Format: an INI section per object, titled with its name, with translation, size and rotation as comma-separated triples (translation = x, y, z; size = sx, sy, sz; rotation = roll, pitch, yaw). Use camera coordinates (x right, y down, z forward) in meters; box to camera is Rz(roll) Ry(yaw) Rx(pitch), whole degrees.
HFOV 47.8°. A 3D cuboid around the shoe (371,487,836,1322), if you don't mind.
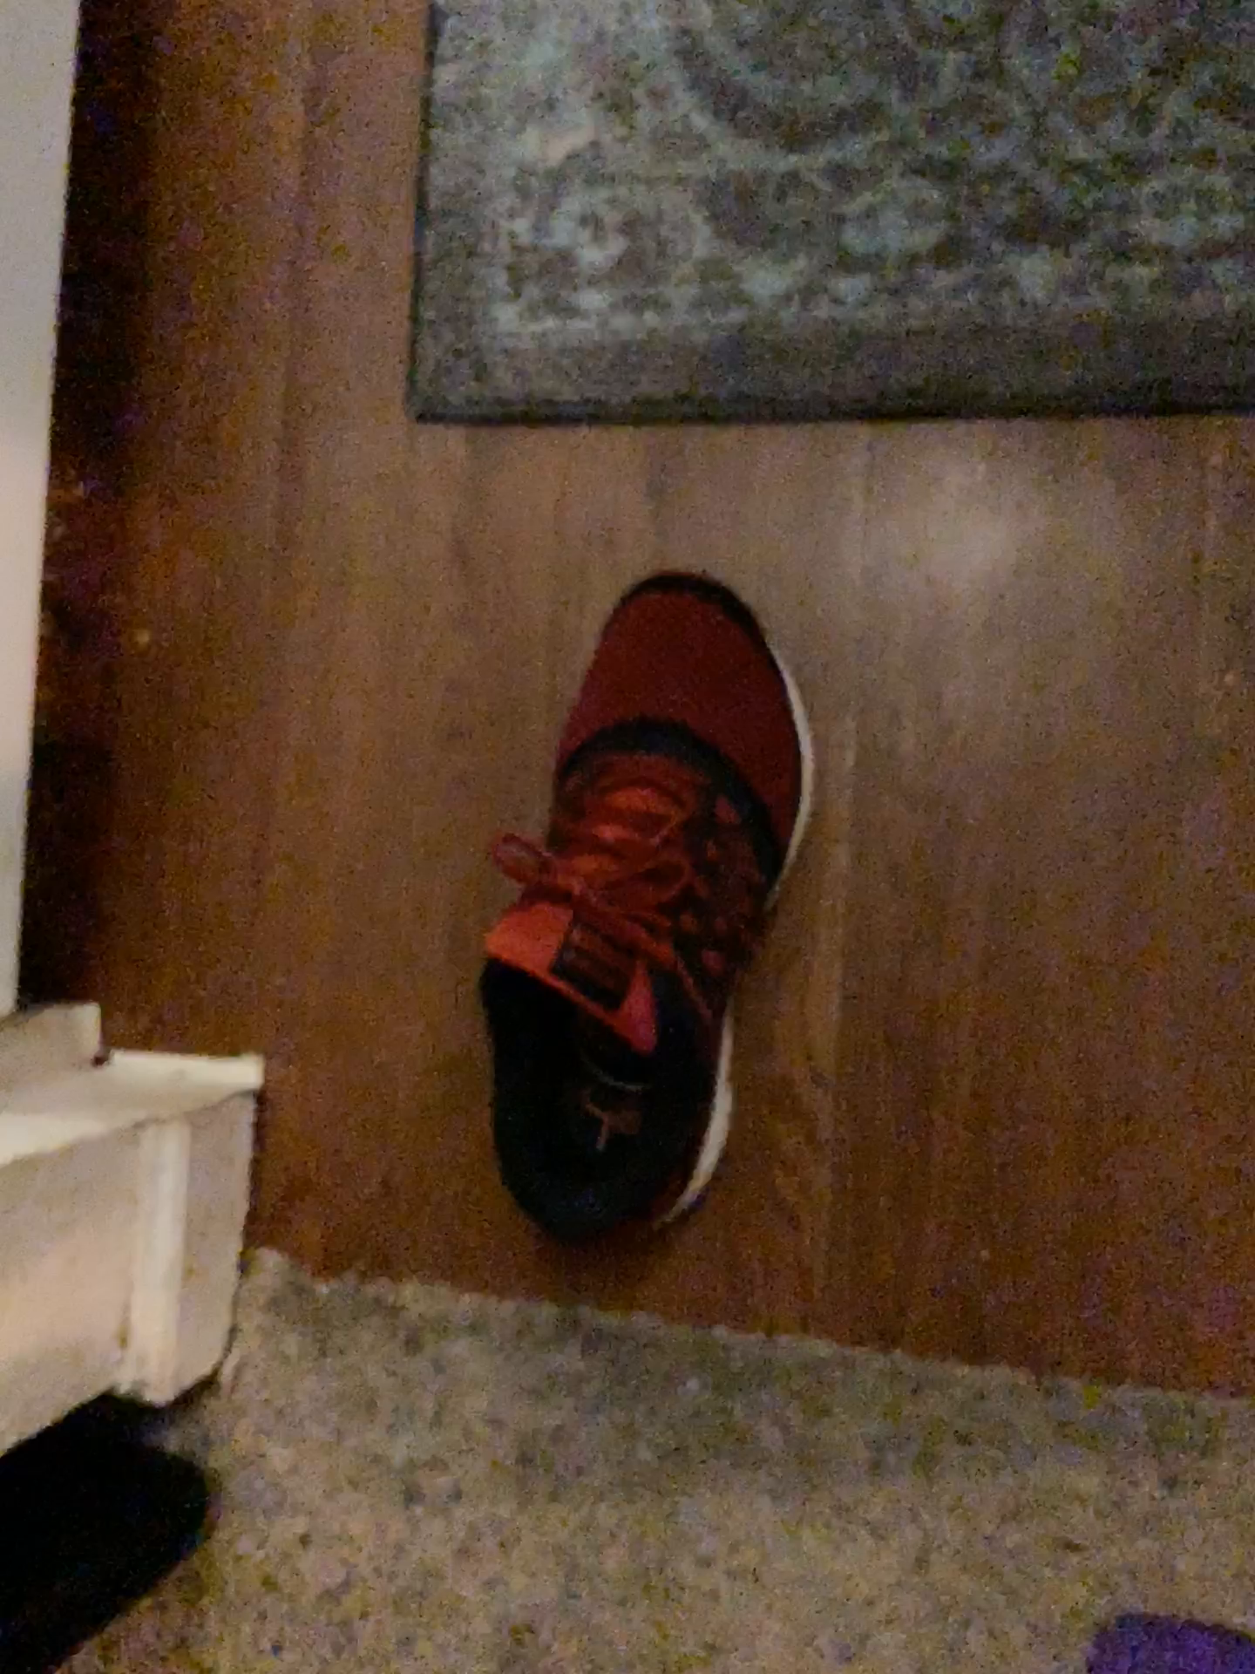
[shoe]
translation = -0.001, 0.024, 0.605
size = 0.130, 0.140, 0.300
rotation = 8, 90, 11
